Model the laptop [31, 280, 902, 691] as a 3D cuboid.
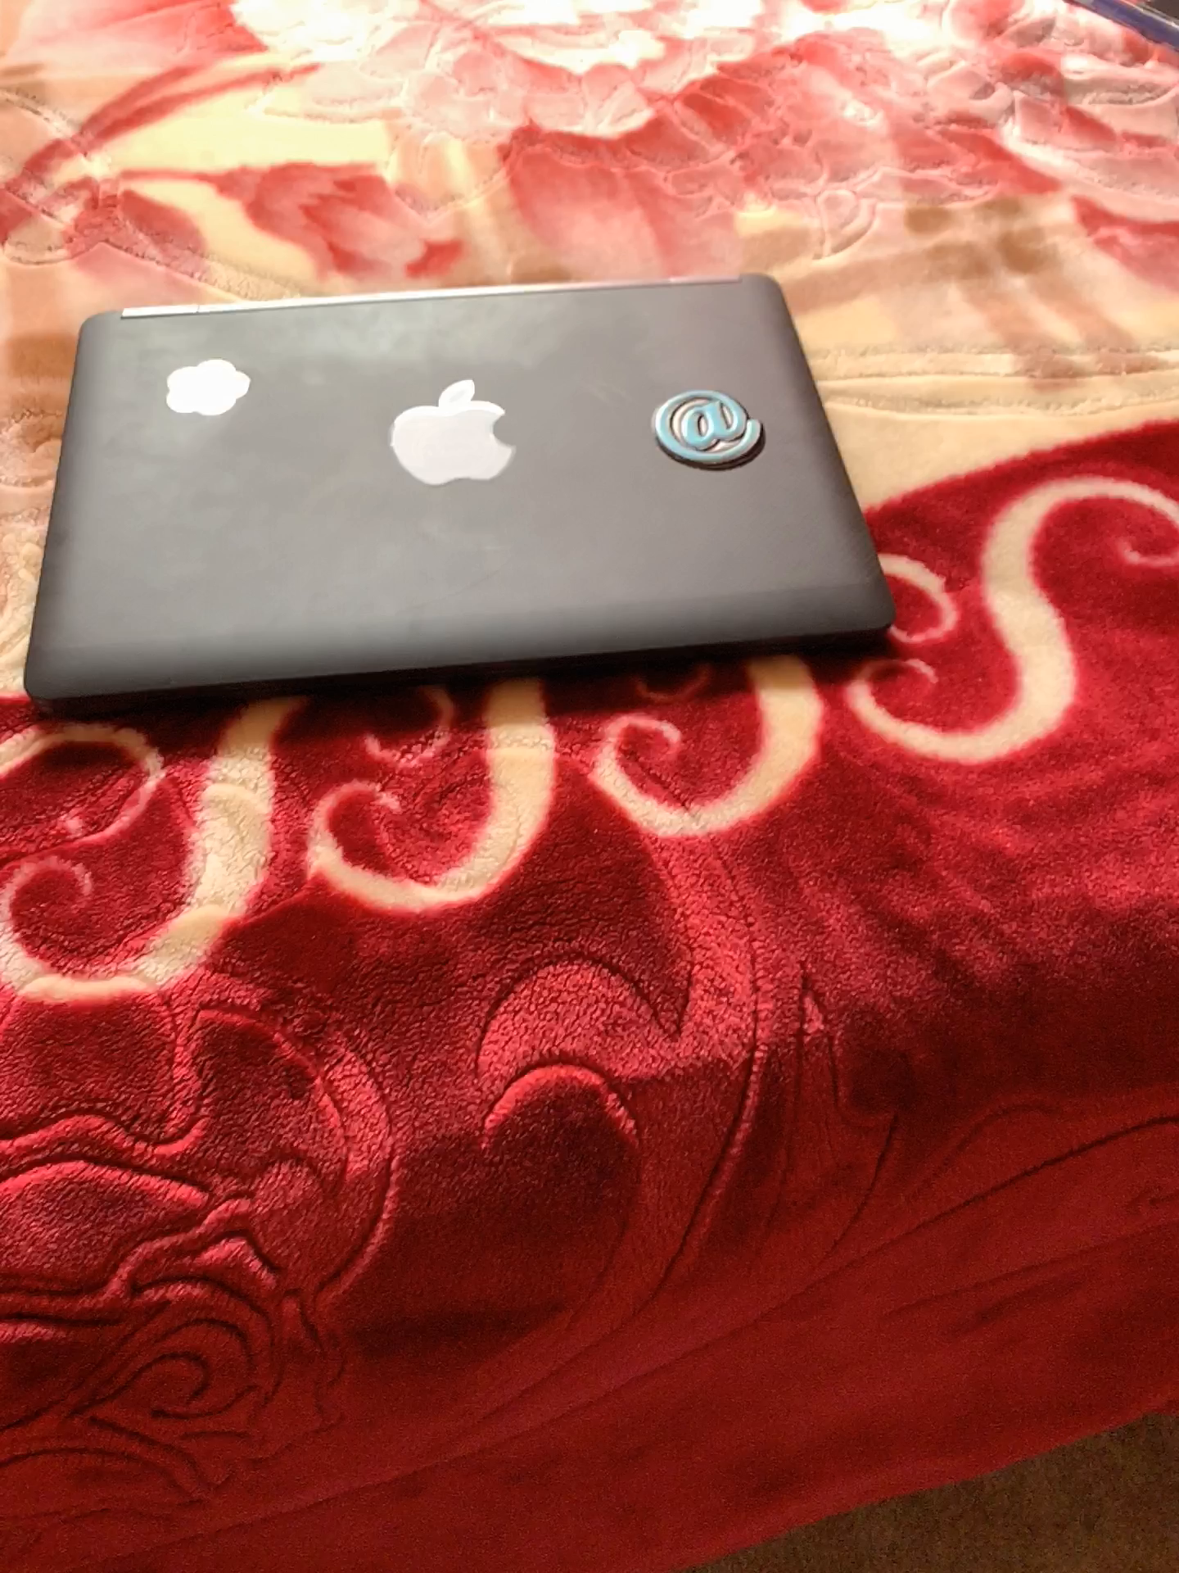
[{"bbox_3d":[-0.053,-0.130,0.477,0.299,0.001,0.209,-5,56,-5],"label":"laptop"}]
